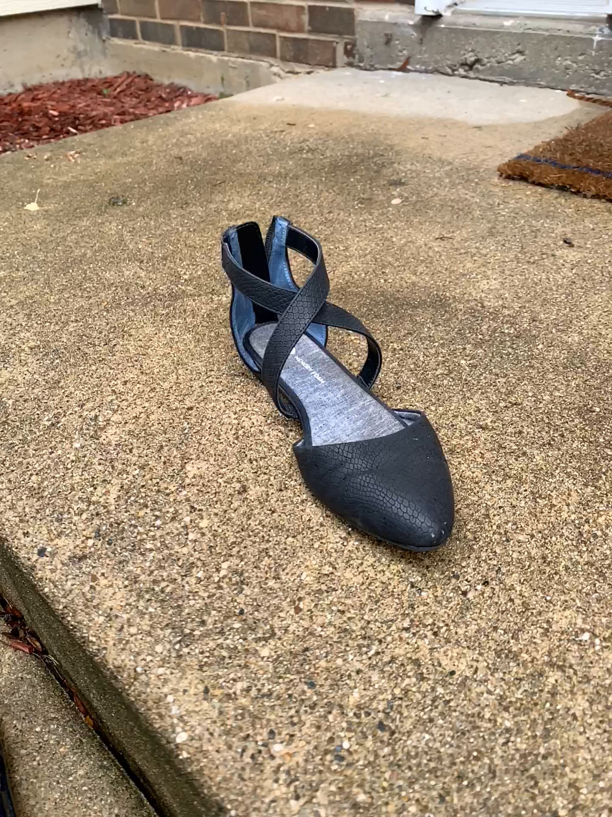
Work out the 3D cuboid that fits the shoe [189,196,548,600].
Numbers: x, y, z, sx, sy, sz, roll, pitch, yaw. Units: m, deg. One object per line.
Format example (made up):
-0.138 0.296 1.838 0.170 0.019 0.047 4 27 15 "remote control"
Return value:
0.015 -0.031 0.402 0.097 0.112 0.264 -17 40 -17 "shoe"
